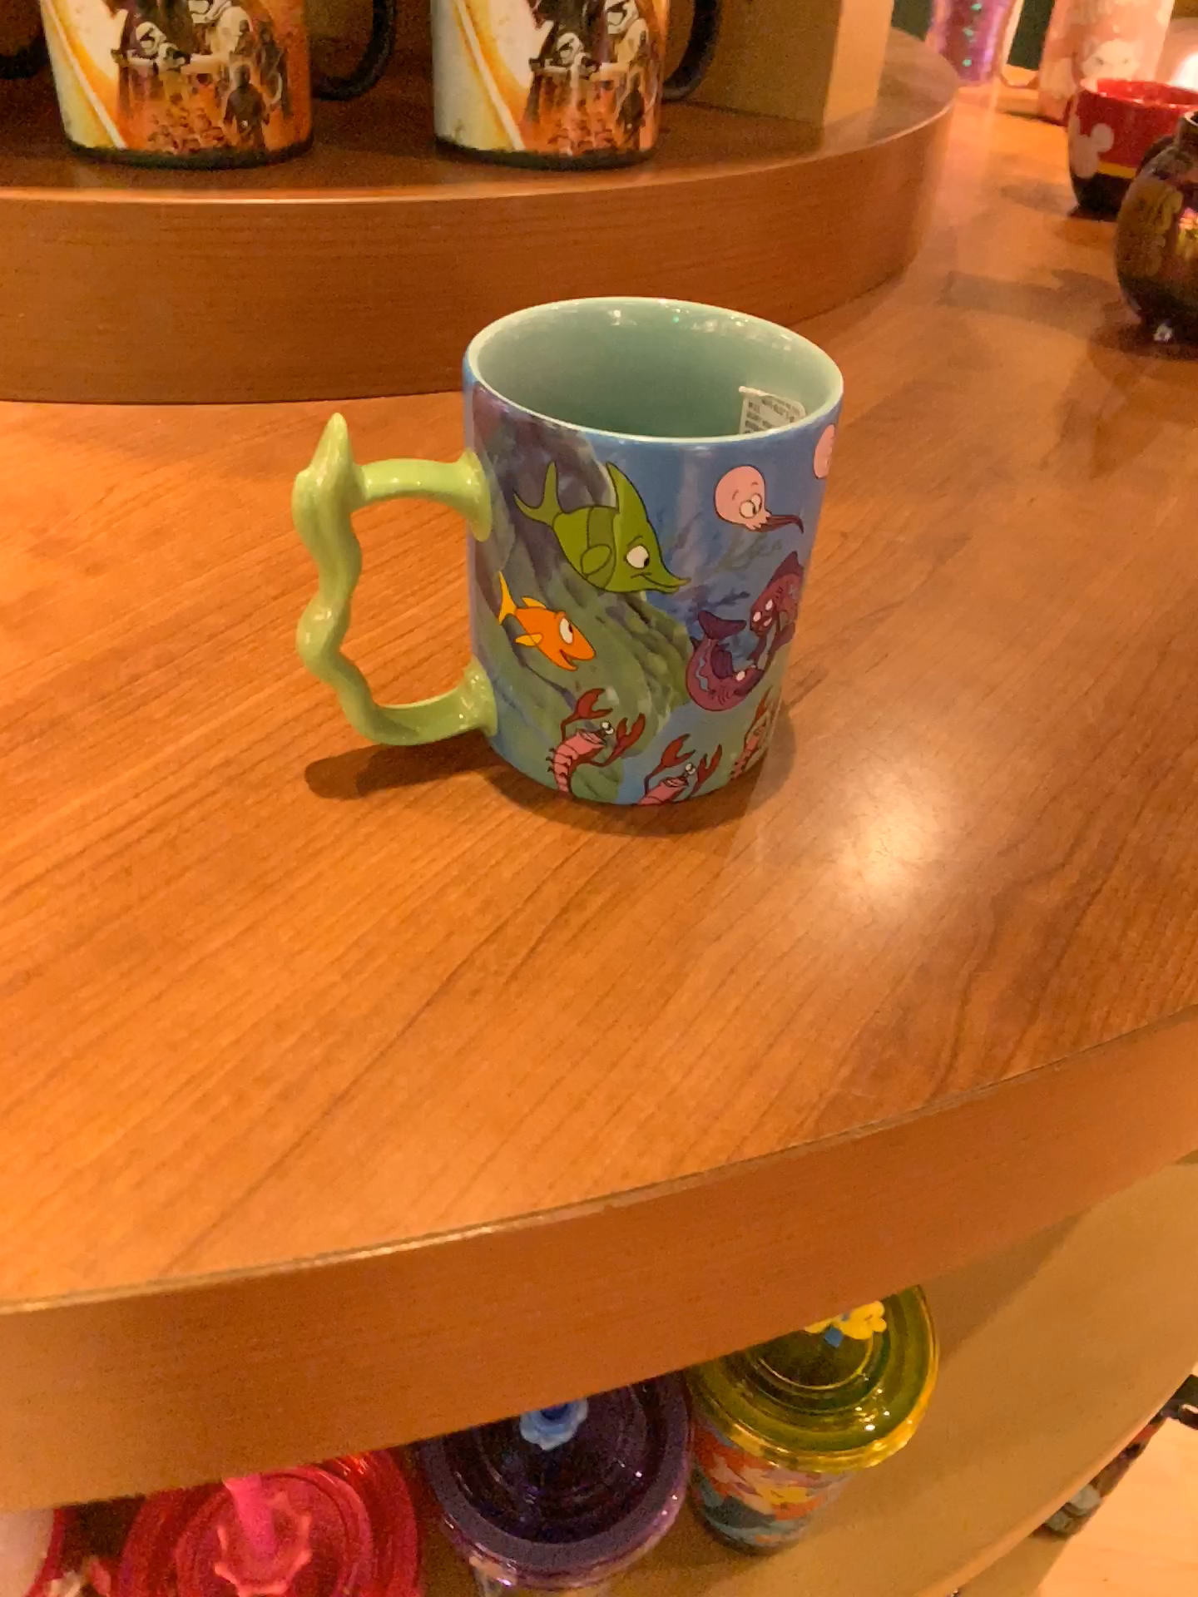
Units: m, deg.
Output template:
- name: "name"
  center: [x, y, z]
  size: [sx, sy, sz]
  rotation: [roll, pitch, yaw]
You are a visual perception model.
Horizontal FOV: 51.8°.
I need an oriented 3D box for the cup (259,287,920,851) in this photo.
- name: "cup"
  center: [-0.011, -0.062, 0.314]
  size: [0.134, 0.101, 0.091]
  rotation: [-6, 41, -12]
